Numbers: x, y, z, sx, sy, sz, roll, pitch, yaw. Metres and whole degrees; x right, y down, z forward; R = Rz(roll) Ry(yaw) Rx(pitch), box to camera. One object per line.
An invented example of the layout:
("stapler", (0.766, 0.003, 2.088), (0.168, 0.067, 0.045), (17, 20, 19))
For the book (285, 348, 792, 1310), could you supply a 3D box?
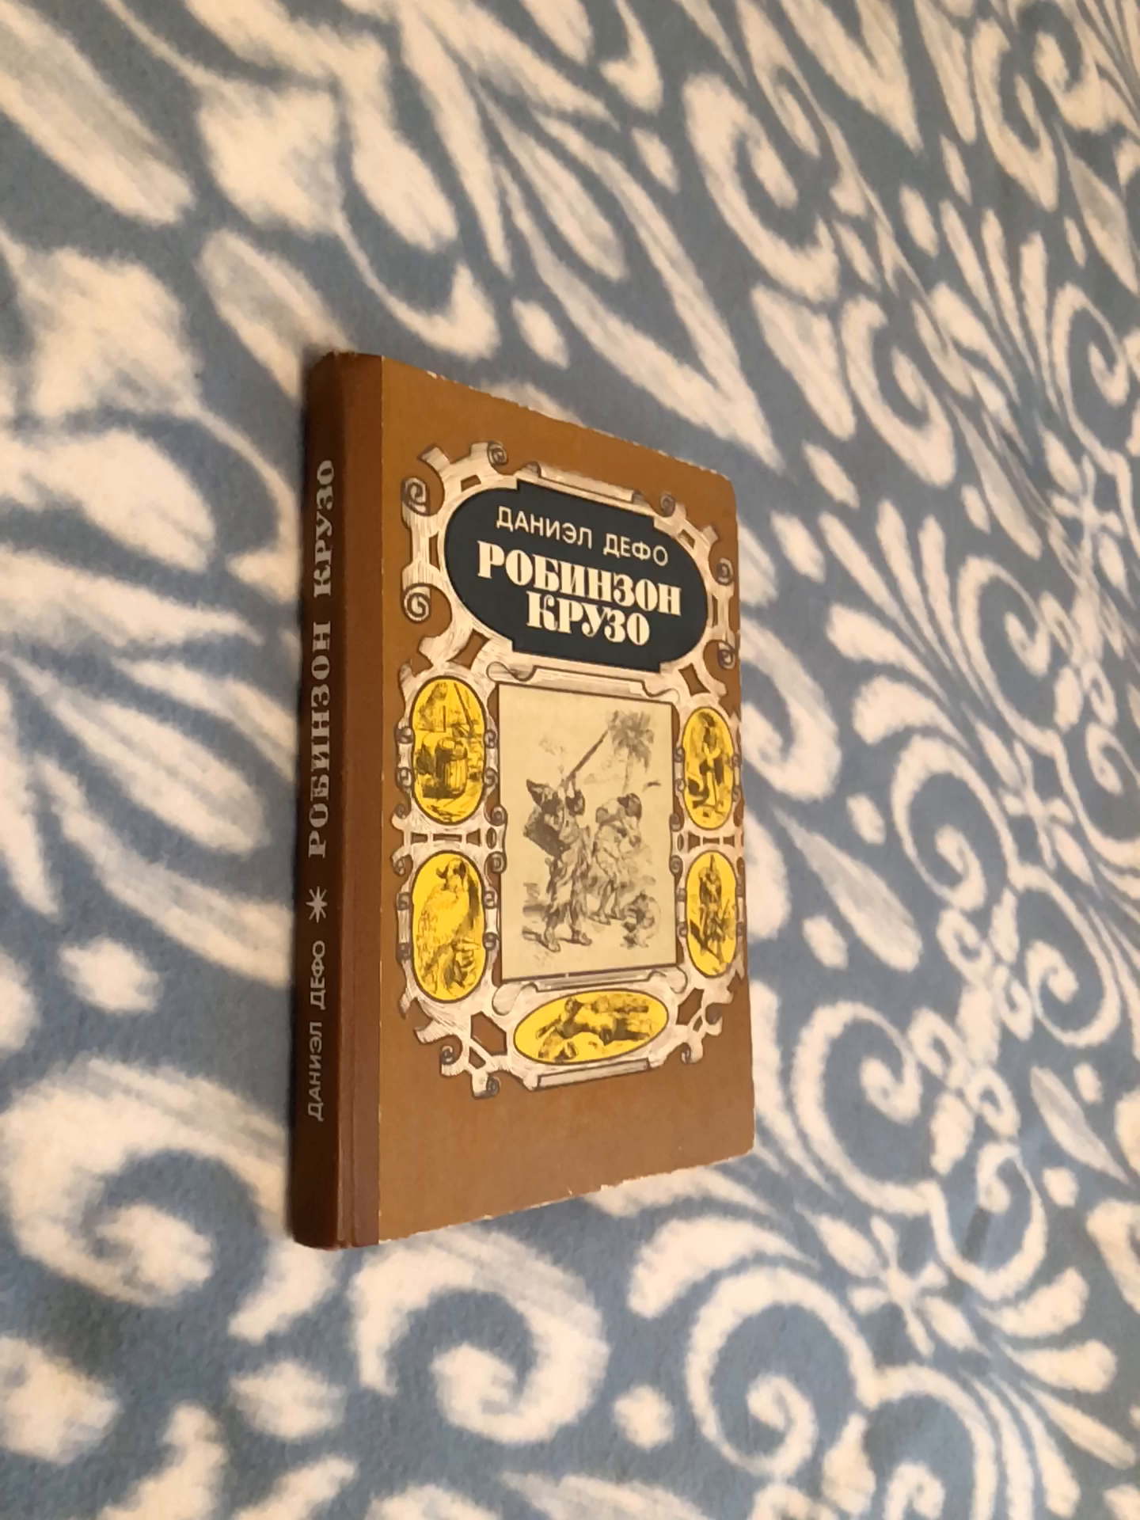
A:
("book", (0.000, 0.019, 0.386), (0.179, 0.024, 0.242), (5, 82, -43))
